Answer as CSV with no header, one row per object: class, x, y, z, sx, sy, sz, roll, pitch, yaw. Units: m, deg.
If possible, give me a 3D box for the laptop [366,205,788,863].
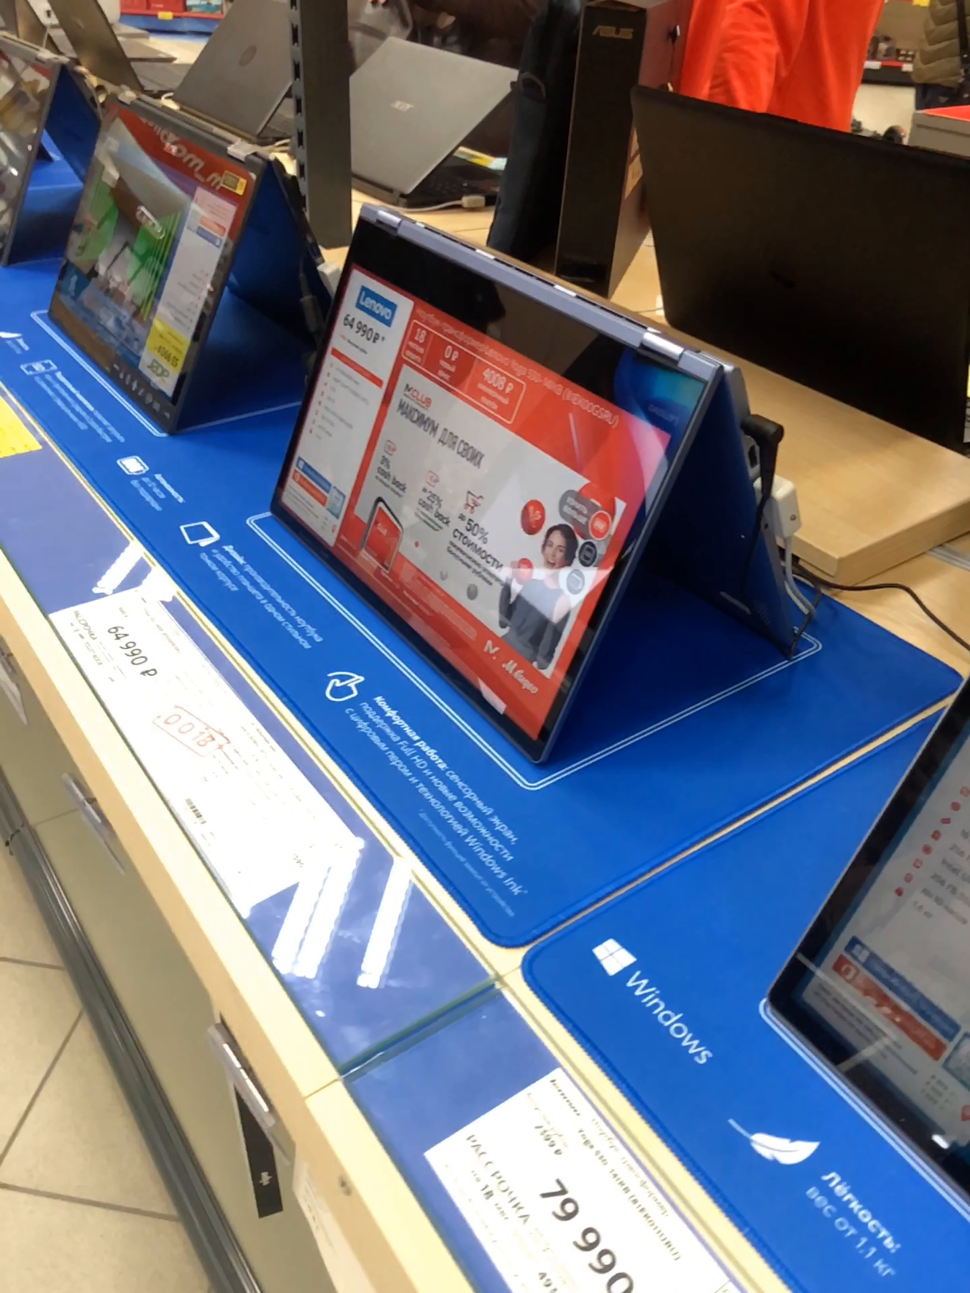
laptop,0.056,-0.063,0.754,0.306,0.157,0.221,39,12,38
